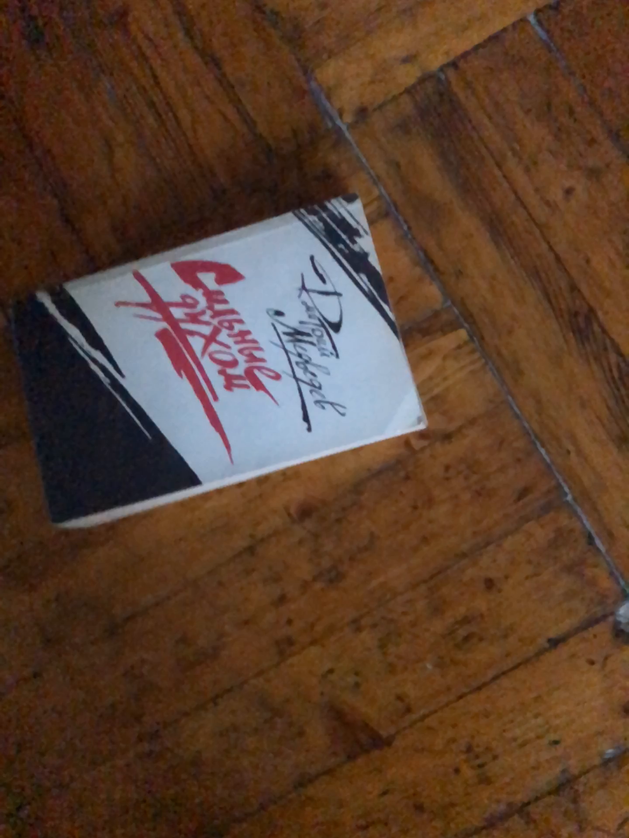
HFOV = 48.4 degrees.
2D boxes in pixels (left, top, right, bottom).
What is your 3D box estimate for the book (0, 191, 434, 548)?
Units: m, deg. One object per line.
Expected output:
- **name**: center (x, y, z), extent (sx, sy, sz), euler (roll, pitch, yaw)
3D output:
- **book**: center (-0.055, -0.025, 0.404), extent (0.210, 0.050, 0.140), euler (-17, 83, 4)
